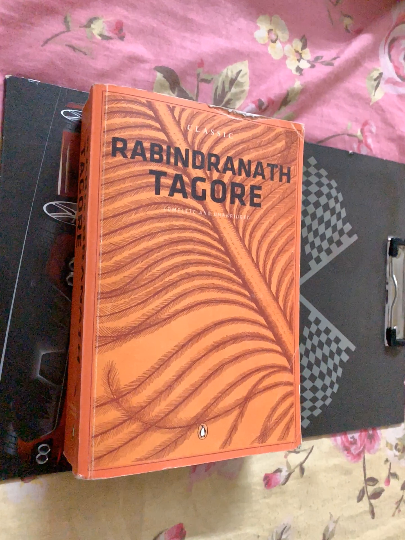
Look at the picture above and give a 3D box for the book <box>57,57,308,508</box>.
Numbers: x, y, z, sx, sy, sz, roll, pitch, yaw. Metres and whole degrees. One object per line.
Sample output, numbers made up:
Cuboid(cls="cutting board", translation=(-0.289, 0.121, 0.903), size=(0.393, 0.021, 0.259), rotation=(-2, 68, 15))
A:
Cuboid(cls="book", translation=(-0.009, 0.007, 0.250), size=(0.130, 0.060, 0.210), rotation=(4, 85, -25))
